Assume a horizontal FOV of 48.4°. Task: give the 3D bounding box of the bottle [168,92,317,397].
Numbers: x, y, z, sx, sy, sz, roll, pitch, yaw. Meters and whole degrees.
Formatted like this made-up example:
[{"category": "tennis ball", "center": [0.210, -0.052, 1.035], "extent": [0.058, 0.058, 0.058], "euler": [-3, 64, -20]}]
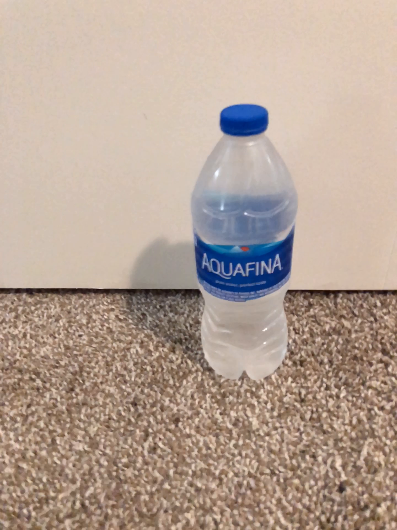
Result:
[{"category": "bottle", "center": [0.030, -0.005, 0.291], "extent": [0.070, 0.189, 0.070], "euler": [-3, 35, 2]}]
